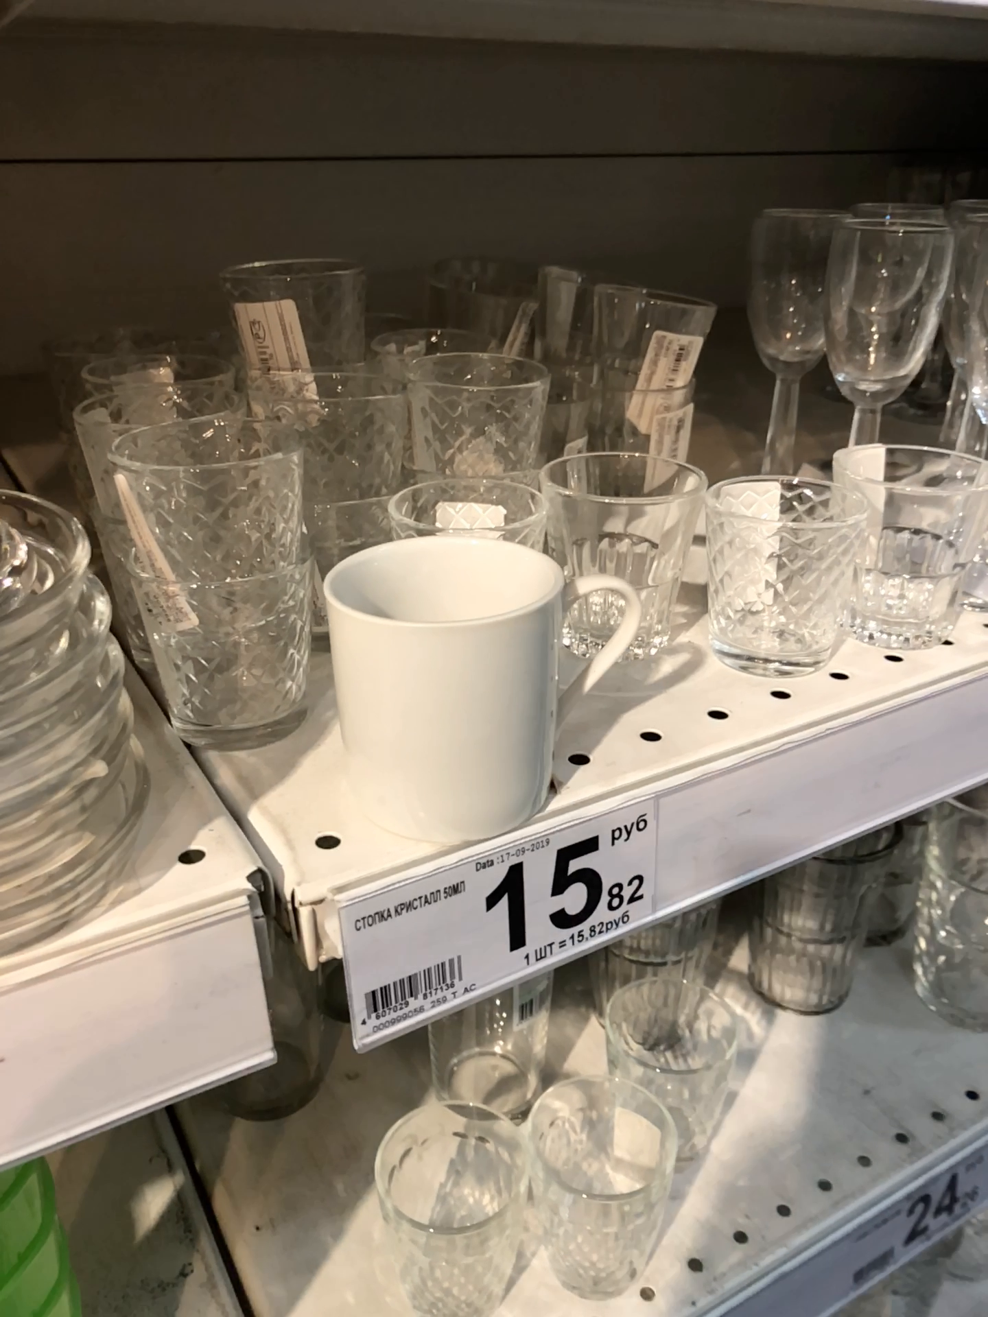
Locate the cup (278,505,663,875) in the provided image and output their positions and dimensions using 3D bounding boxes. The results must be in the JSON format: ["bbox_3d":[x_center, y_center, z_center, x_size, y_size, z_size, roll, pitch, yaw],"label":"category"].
[{"bbox_3d":[-0.007,0.004,0.273,0.074,0.060,0.057,-12,29,-23],"label":"cup"}]
